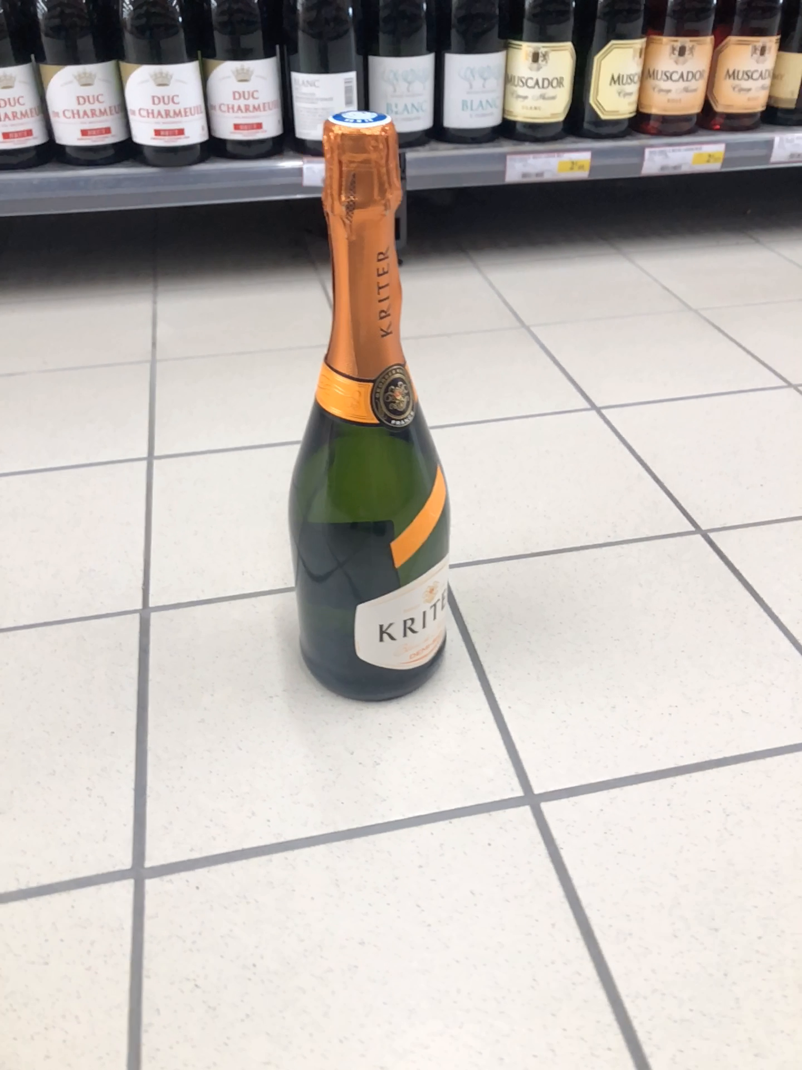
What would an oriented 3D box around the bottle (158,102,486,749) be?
[{"bbox_3d":[-0.033,-0.048,0.467,0.100,0.308,0.101,0,34,0],"label":"bottle"}]
